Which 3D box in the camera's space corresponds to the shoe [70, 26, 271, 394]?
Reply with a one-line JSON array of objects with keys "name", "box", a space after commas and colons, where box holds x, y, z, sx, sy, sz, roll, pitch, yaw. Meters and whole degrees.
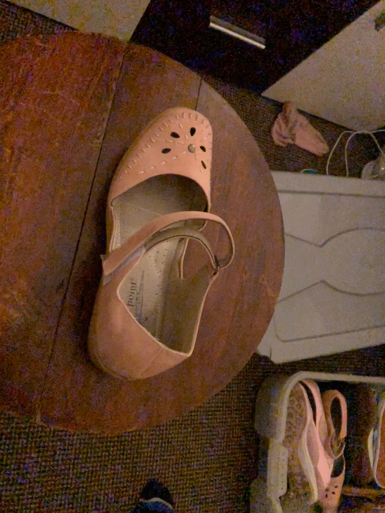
[{"name": "shoe", "box": [-0.016, -0.035, 0.342, 0.102, 0.092, 0.272, 16, 75, -25]}]
